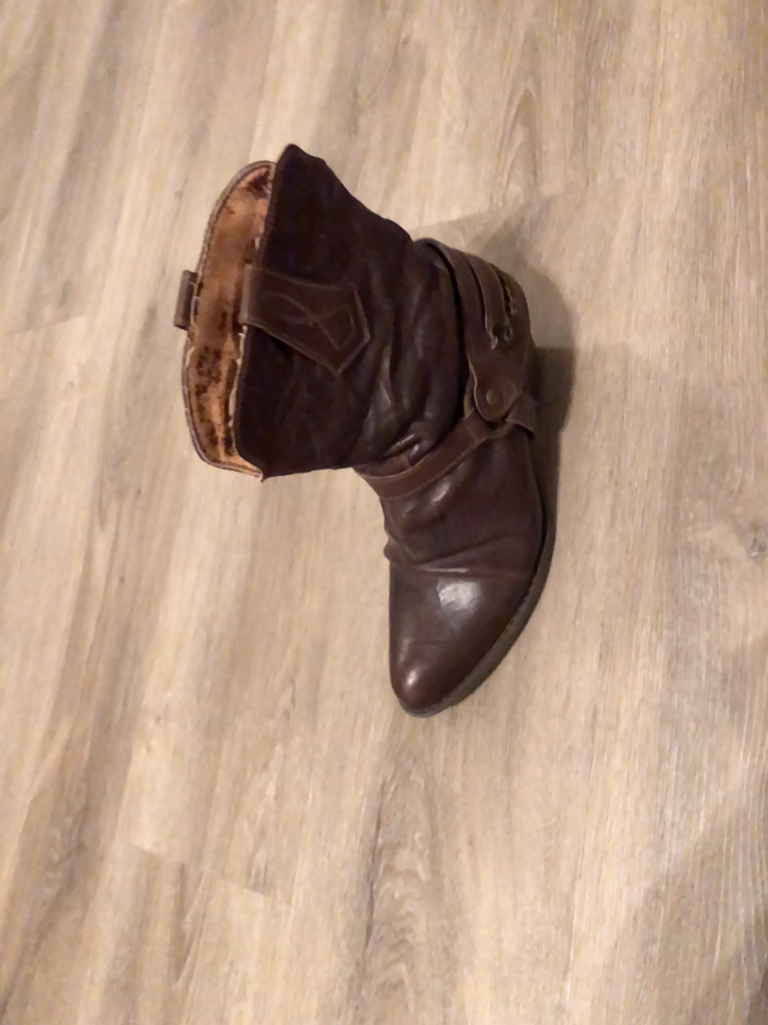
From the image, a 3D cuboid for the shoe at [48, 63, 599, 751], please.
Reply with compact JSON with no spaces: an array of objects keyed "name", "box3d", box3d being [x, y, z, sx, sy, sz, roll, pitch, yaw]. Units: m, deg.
[{"name":"shoe","box3d":[-0.007,-0.025,0.403,0.100,0.209,0.240,4,78,38]}]
